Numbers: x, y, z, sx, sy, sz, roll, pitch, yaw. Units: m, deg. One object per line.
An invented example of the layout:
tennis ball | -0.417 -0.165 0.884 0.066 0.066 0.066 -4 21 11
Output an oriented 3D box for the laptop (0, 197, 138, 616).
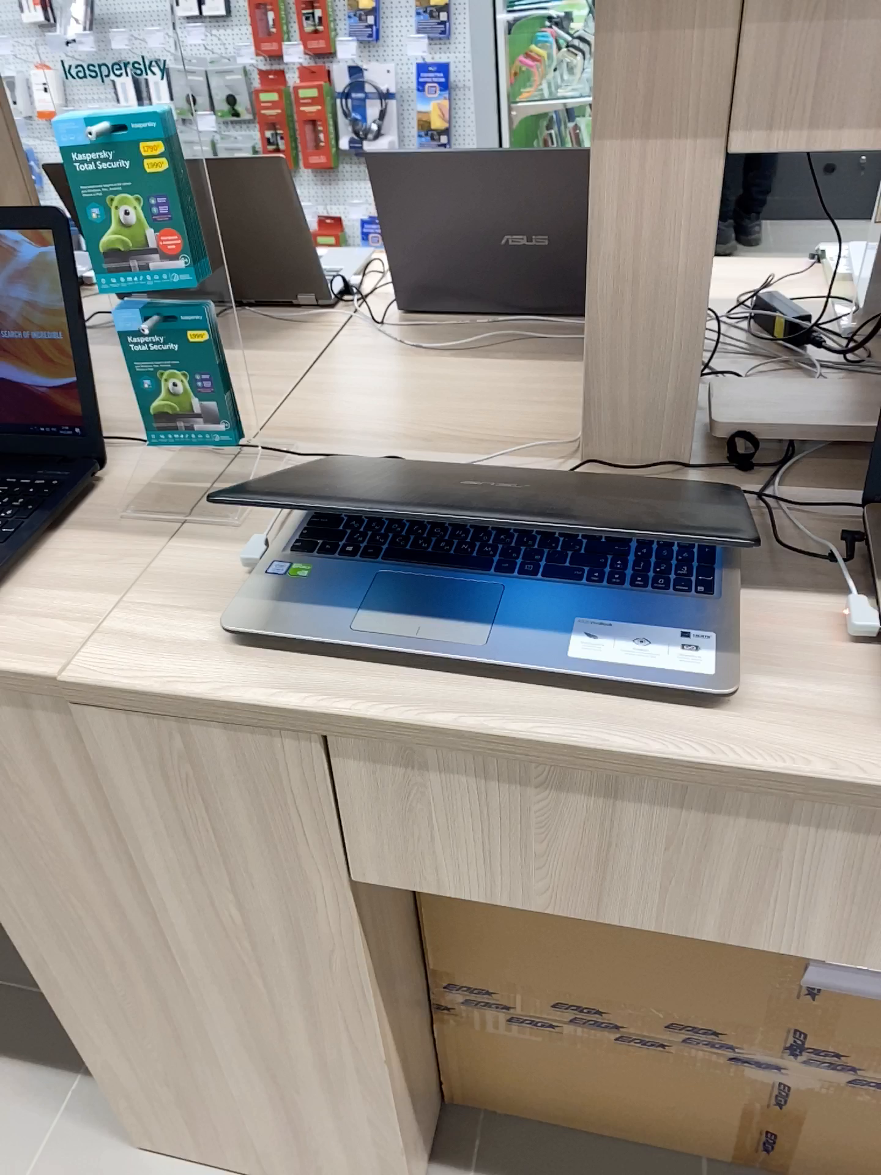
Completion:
laptop | -0.572 -0.183 0.814 0.421 0.235 0.319 5 37 14

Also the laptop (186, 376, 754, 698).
laptop | 0.039 -0.059 0.706 0.382 0.094 0.241 7 39 14
